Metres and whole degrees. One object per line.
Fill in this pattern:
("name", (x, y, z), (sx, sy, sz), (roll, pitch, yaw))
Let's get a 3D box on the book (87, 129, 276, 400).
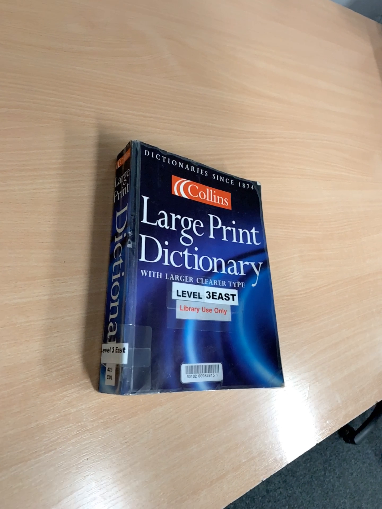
("book", (-0.001, 0.017, 0.413), (0.188, 0.050, 0.243), (10, 72, -34))
